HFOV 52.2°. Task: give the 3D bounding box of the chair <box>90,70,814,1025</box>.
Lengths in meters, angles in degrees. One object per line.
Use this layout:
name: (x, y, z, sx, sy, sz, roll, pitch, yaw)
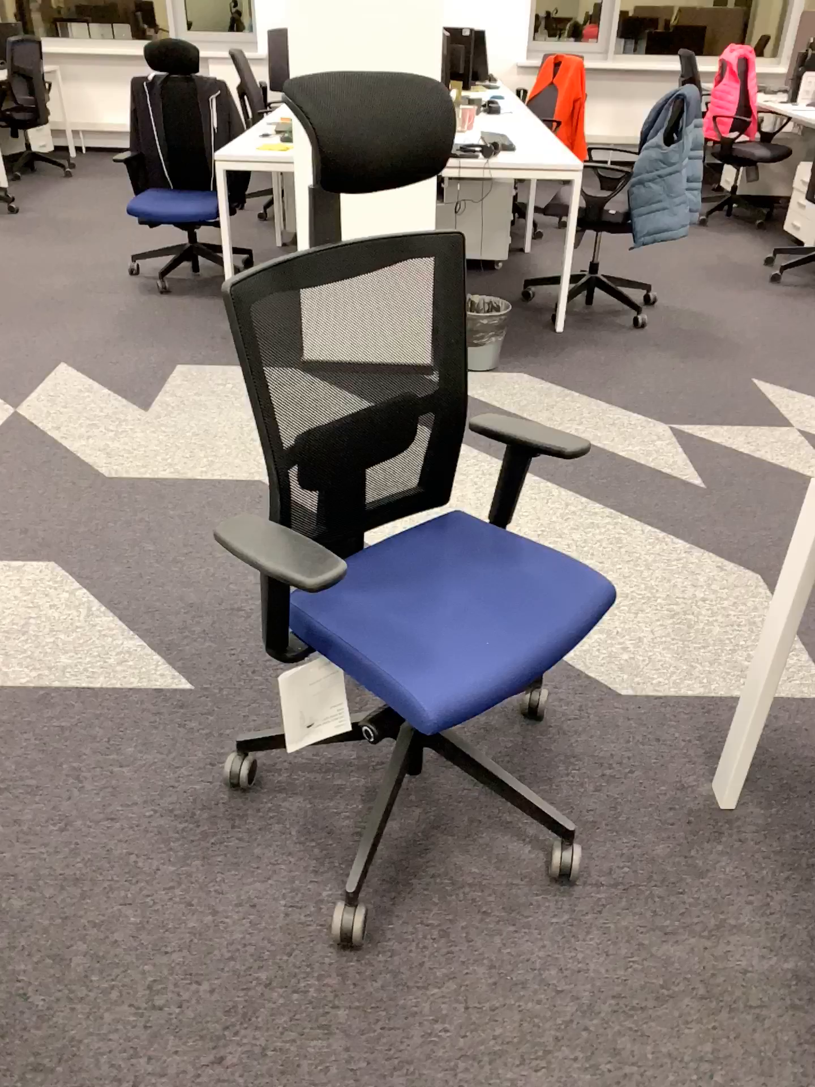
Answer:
chair: (0.070, -0.037, 1.374, 0.732, 1.243, 0.672, -22, 40, -32)
